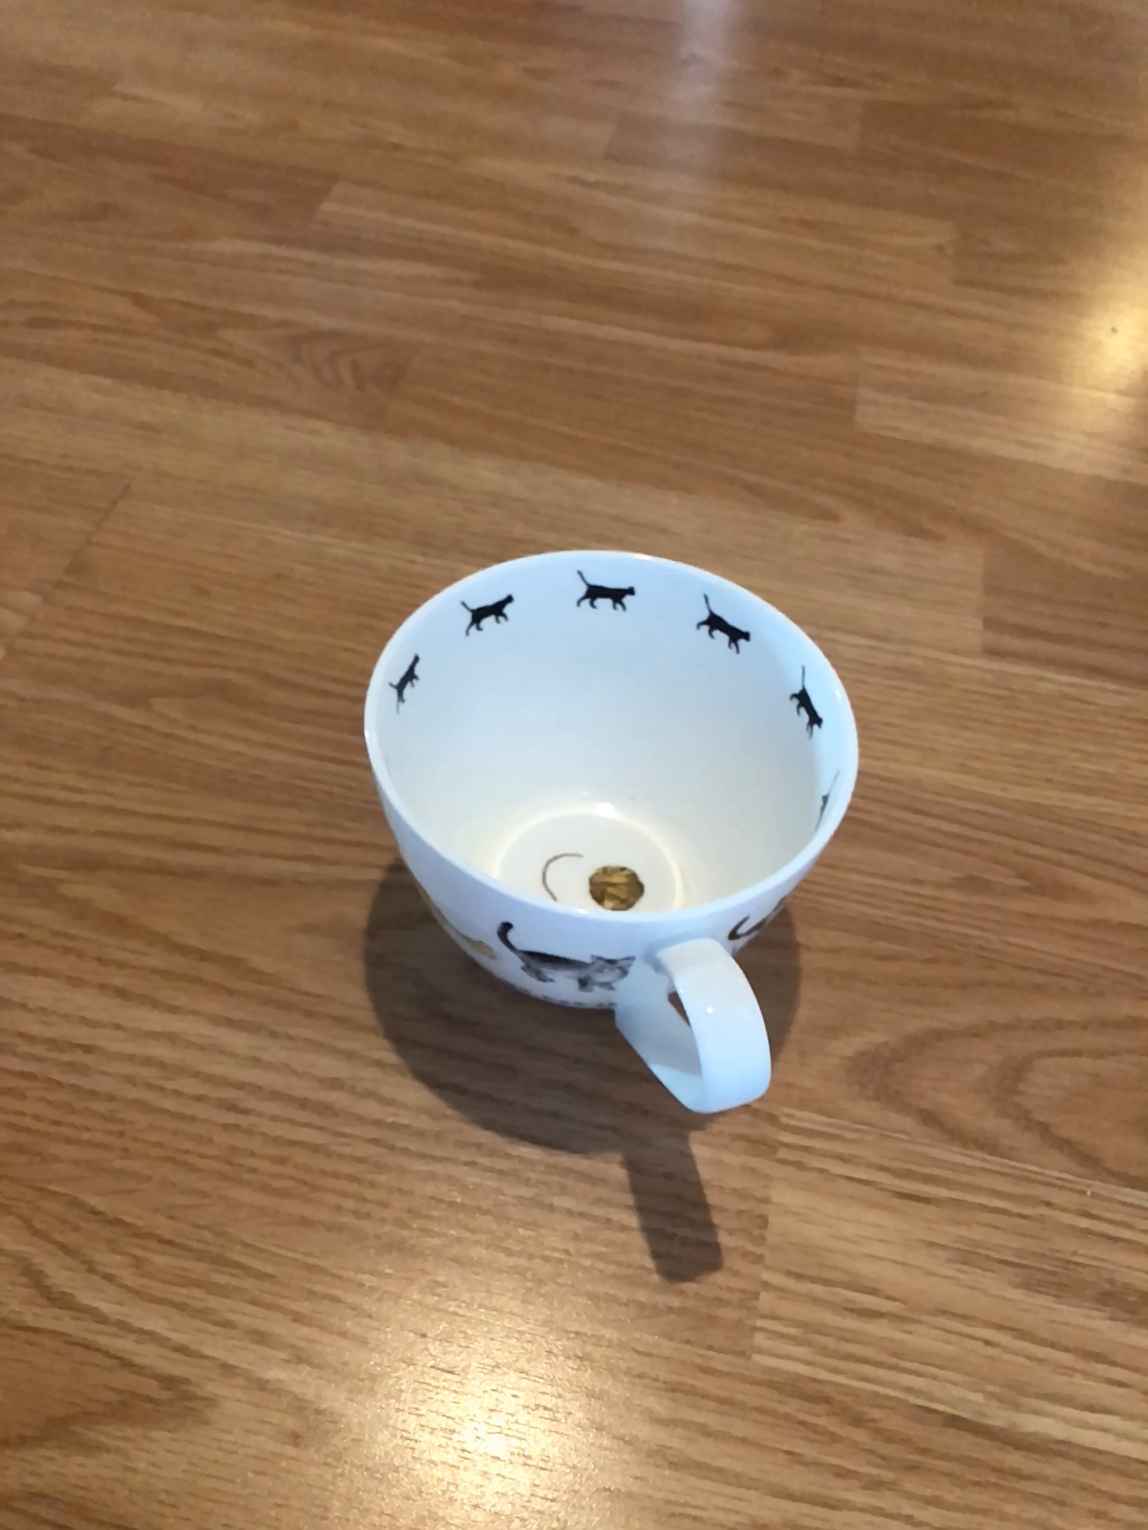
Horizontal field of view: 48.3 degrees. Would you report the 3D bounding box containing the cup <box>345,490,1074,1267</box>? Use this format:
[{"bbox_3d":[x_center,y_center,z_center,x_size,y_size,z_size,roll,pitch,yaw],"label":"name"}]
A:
[{"bbox_3d":[0.019,0.019,0.327,0.120,0.080,0.161,-11,52,-14],"label":"cup"}]
